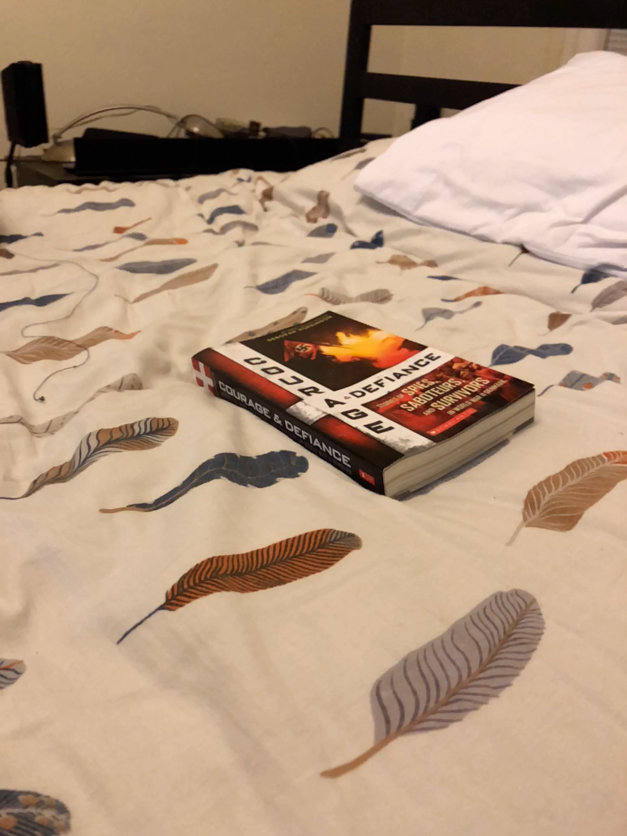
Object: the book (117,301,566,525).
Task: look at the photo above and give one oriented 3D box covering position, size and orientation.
[{"bbox_3d":[0.015,-0.025,0.472,0.201,0.020,0.231,-18,35,-39],"label":"book"}]
